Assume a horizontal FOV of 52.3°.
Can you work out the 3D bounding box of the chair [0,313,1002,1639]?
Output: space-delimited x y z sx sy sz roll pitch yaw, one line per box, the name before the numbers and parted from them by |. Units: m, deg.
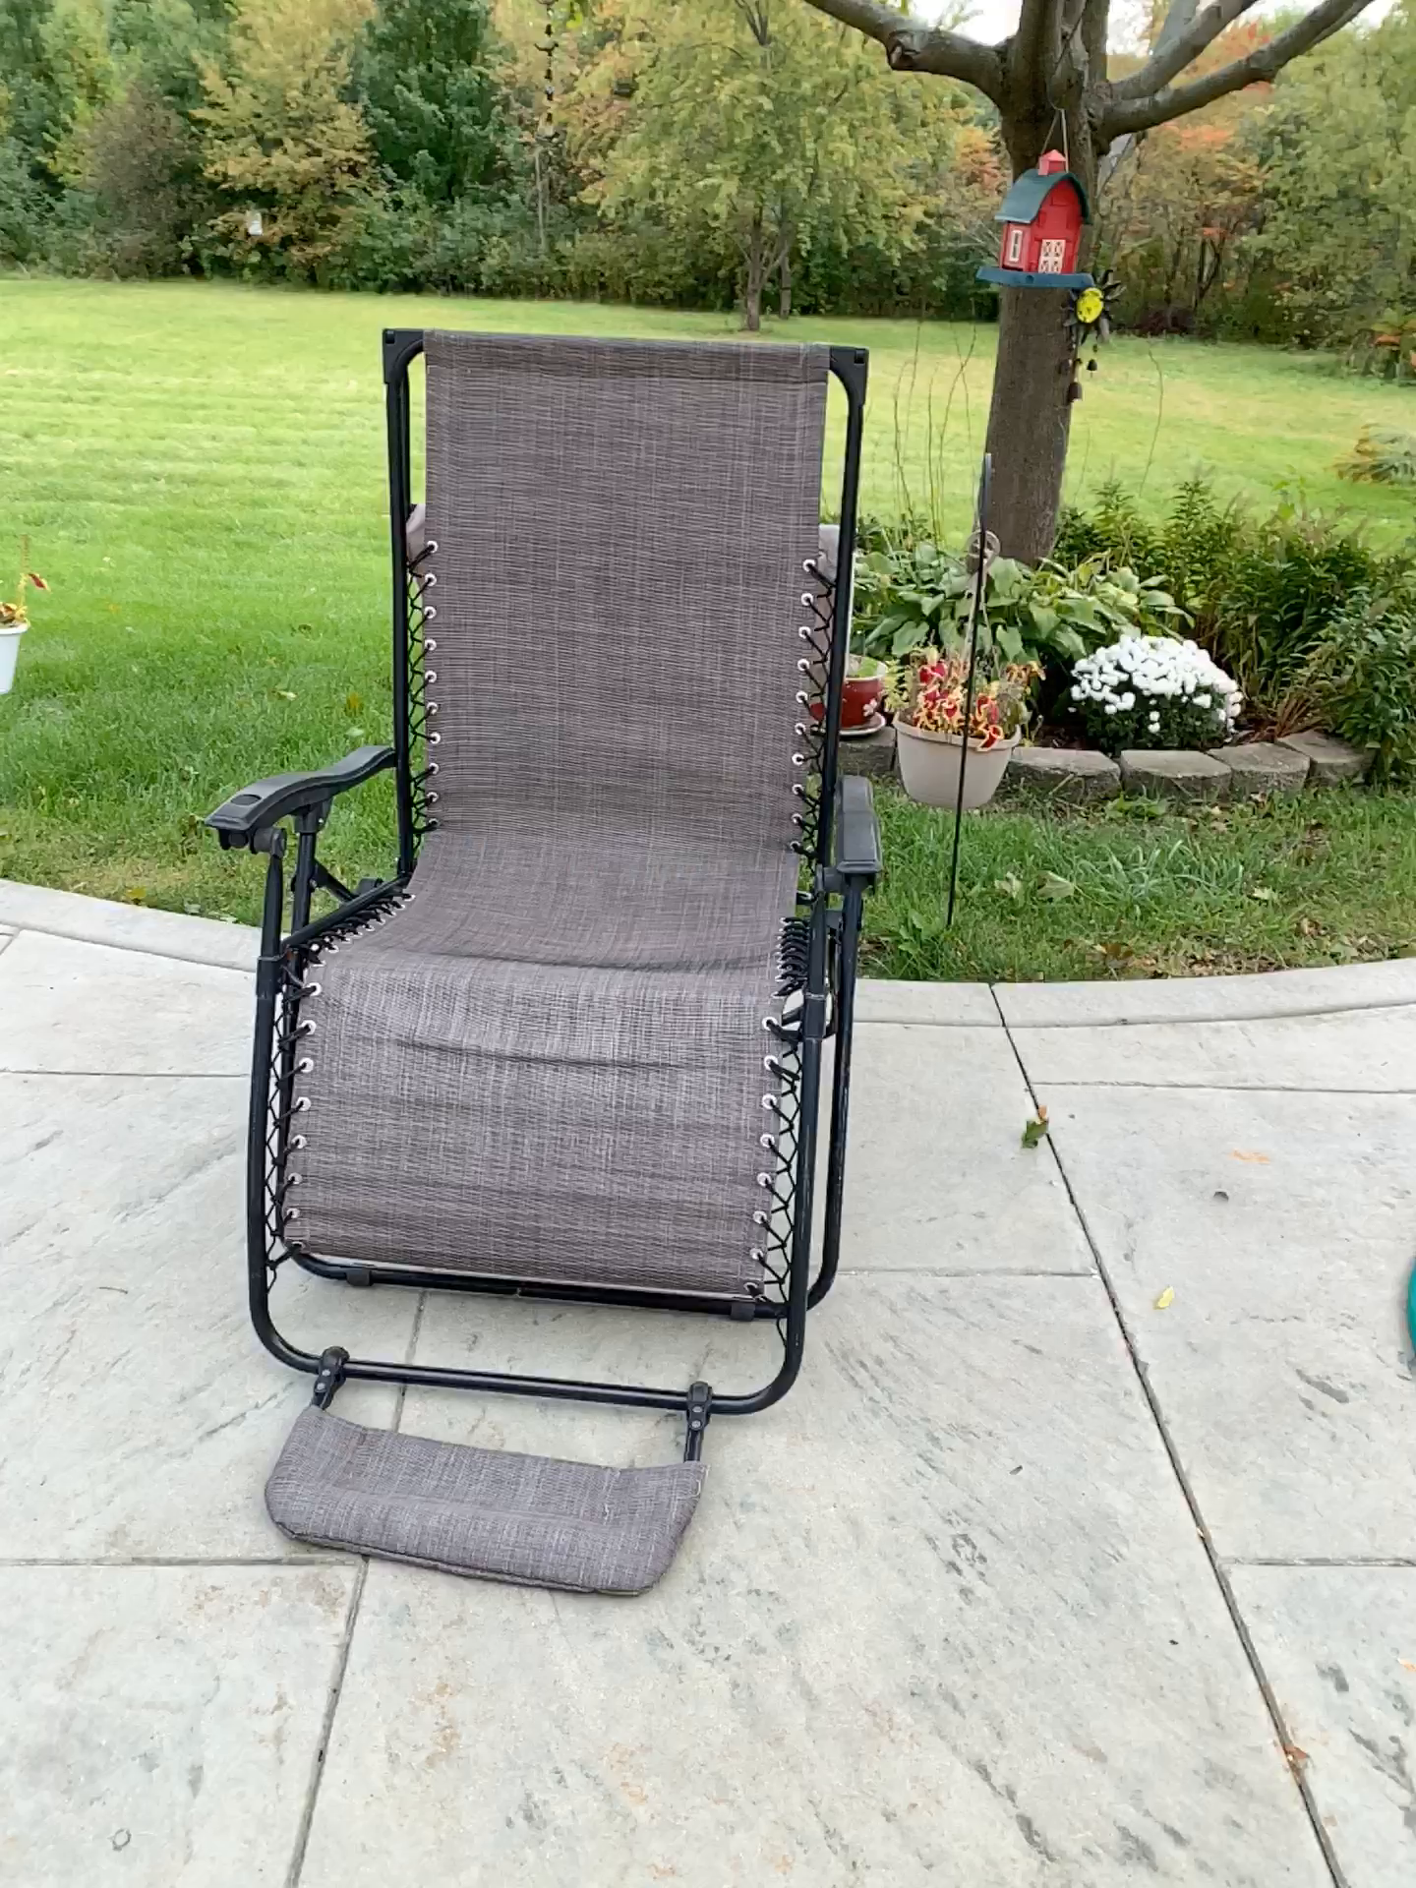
chair | -0.143 -0.095 1.683 0.741 1.056 1.154 5 28 4
